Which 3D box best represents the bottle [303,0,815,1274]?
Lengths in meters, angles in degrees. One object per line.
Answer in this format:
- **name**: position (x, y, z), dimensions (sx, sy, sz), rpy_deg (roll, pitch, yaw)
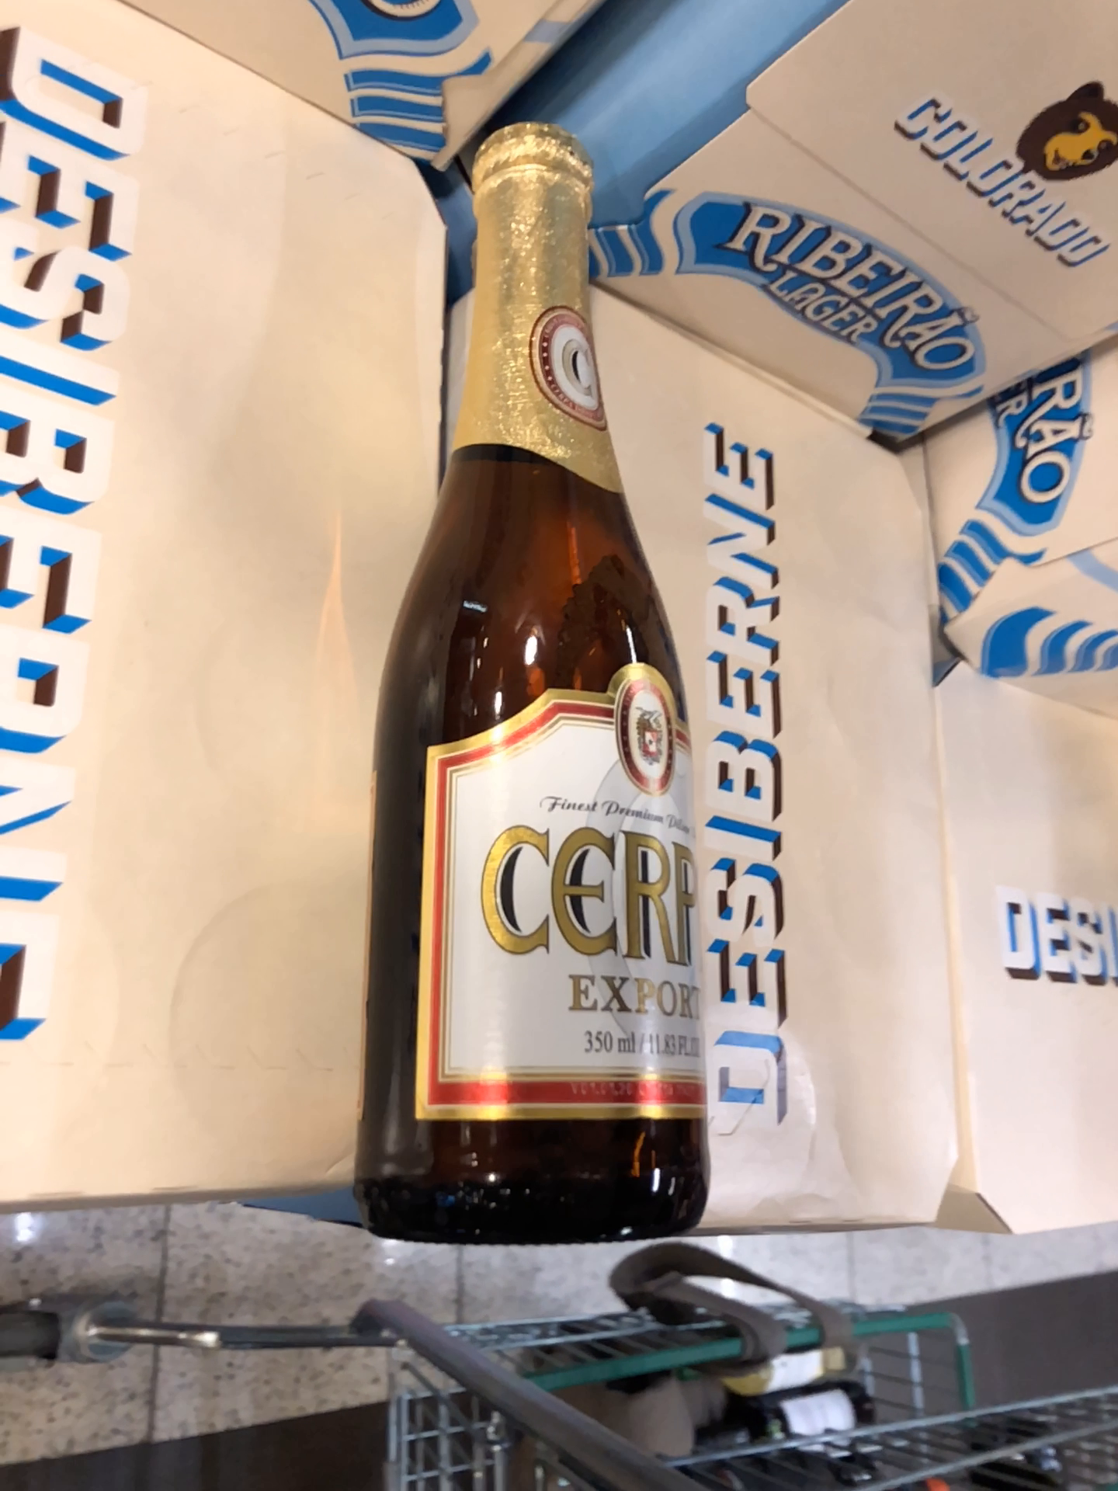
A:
- **bottle**: position (-0.002, -0.030, 0.252), dimensions (0.070, 0.060, 0.240), rpy_deg (10, 73, -38)
